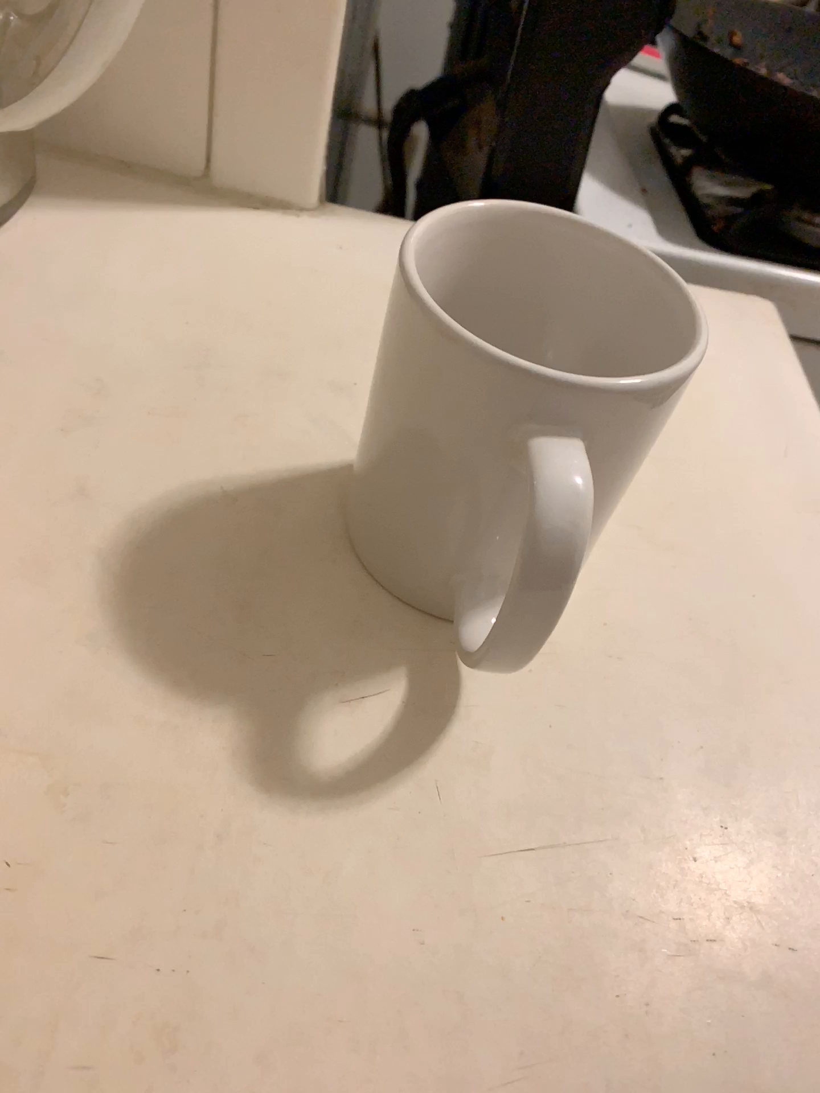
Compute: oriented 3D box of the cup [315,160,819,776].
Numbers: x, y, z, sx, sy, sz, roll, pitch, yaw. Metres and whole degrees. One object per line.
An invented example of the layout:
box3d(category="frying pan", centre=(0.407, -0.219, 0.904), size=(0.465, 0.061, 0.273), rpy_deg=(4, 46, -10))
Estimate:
box3d(category="cup", centre=(0.025, -0.023, 0.255), size=(0.090, 0.109, 0.141), rpy_deg=(5, 47, -12))
